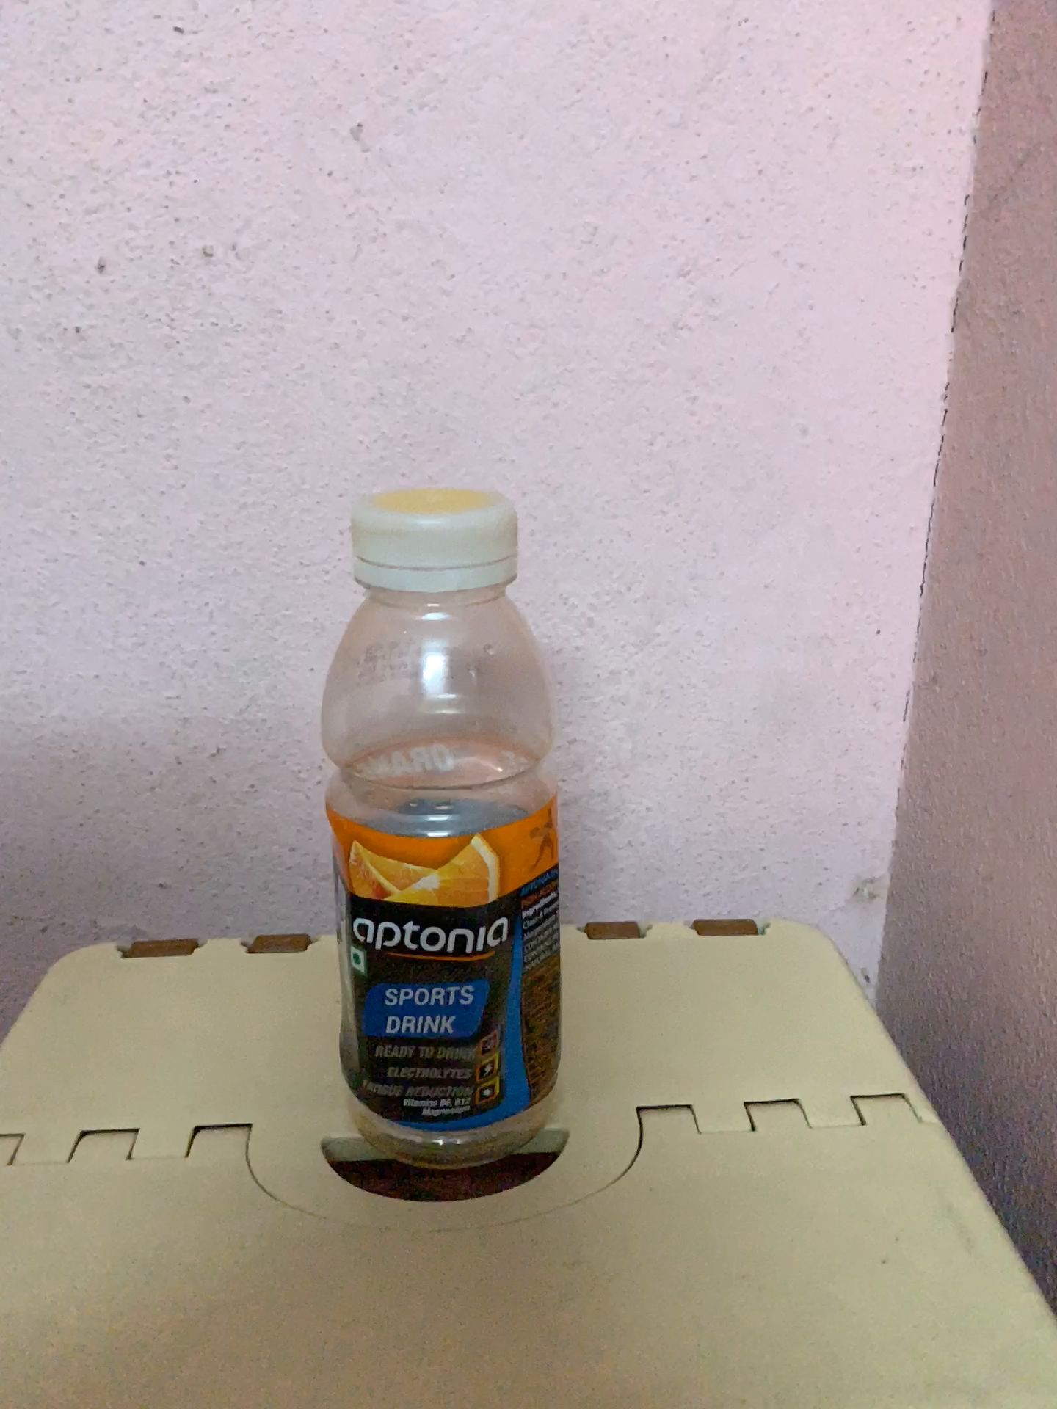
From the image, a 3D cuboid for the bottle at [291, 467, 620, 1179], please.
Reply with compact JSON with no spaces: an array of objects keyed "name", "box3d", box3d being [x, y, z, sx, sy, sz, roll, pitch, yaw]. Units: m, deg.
[{"name":"bottle","box3d":[-0.015,0.032,0.290,0.070,0.179,0.060,0,20,0]}]
